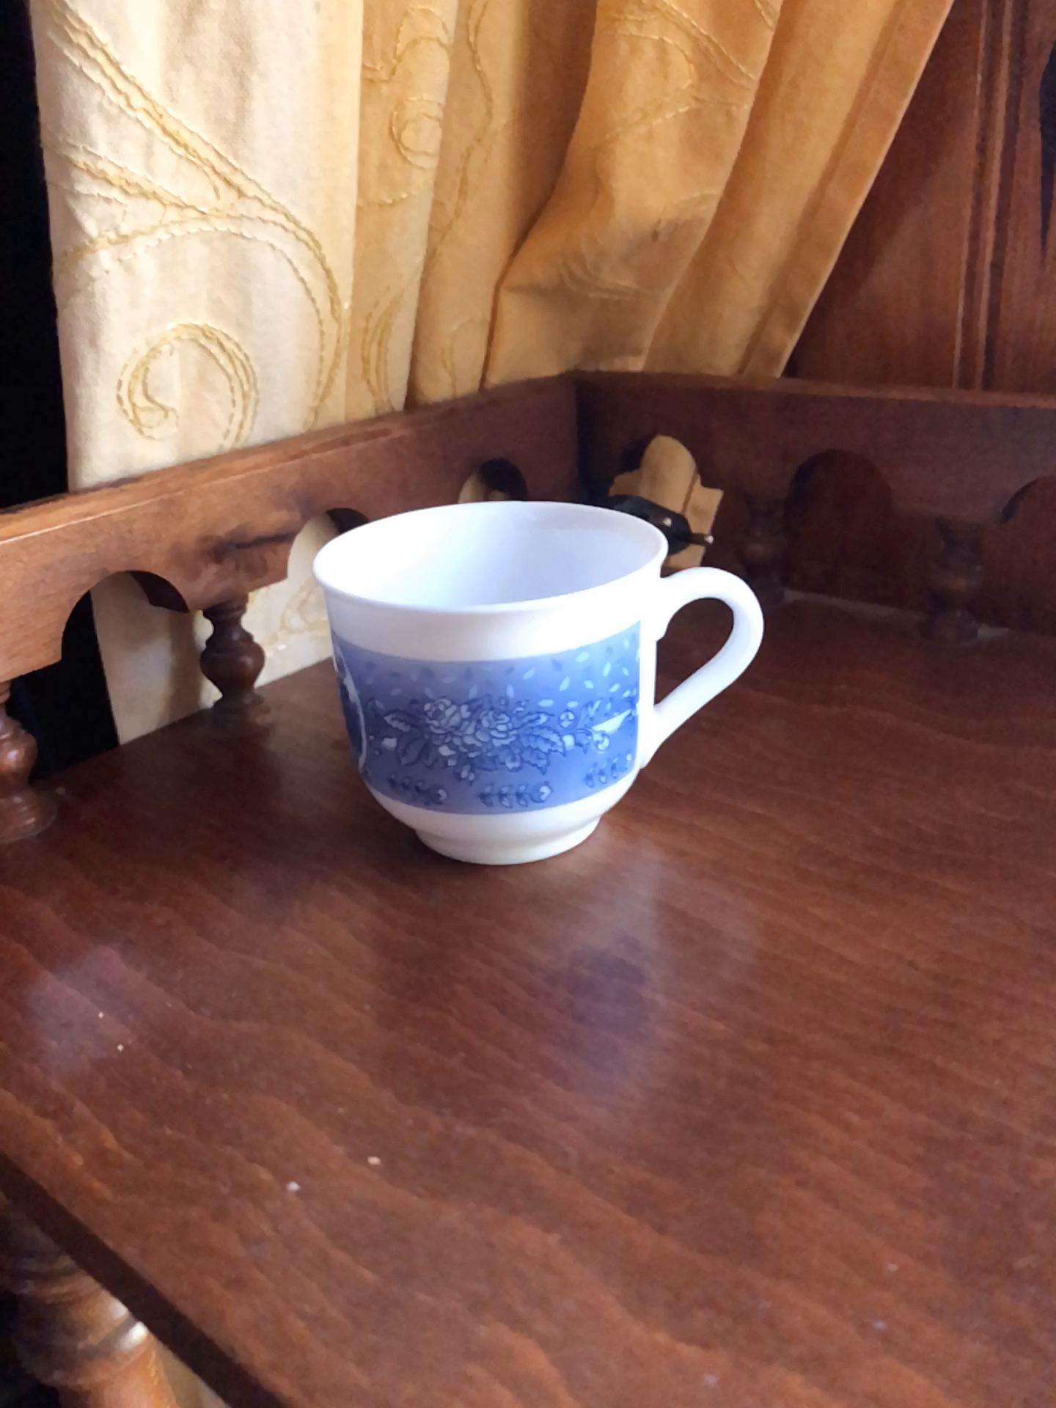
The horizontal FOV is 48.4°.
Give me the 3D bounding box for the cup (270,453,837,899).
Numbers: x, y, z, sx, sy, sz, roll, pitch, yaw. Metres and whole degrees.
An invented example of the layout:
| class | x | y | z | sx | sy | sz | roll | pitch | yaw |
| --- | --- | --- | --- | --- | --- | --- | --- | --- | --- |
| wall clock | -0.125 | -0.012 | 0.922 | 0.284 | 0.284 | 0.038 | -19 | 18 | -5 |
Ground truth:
| class | x | y | z | sx | sy | sz | roll | pitch | yaw |
| --- | --- | --- | --- | --- | --- | --- | --- | --- | --- |
| cup | 0.002 | -0.012 | 0.252 | 0.100 | 0.060 | 0.080 | -6 | 24 | -7 |
